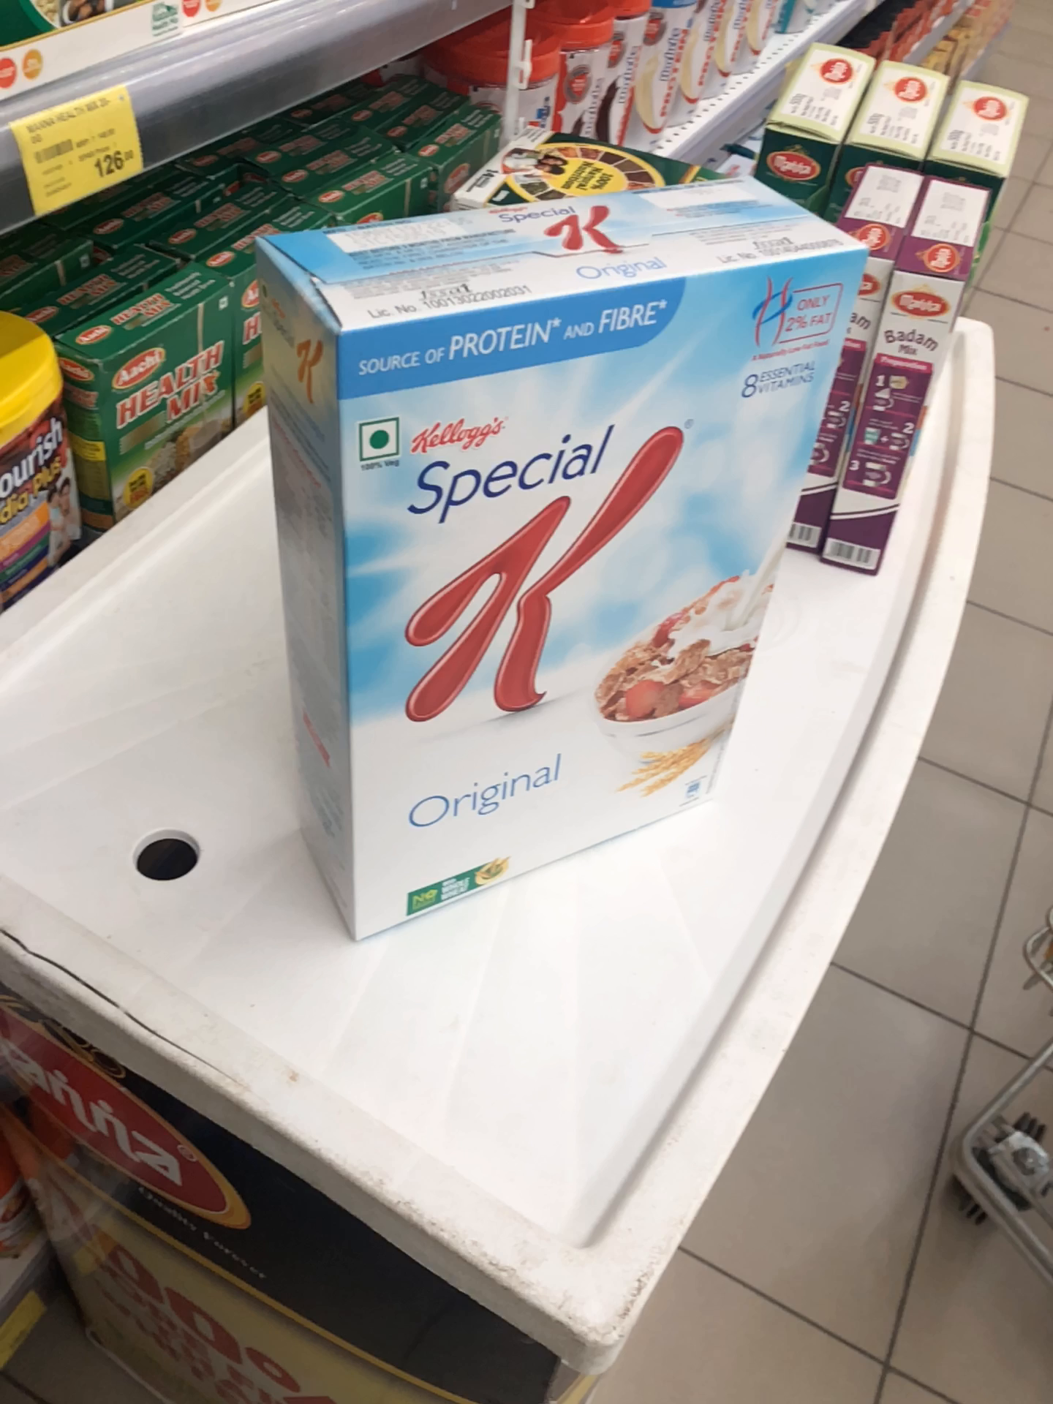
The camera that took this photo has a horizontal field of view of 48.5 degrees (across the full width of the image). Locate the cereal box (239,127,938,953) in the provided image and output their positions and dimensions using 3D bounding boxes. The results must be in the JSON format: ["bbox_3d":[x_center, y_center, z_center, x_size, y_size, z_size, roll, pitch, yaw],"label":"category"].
[{"bbox_3d":[0.012,-0.048,0.417,0.190,0.259,0.070,-19,48,-24],"label":"cereal box"}]
